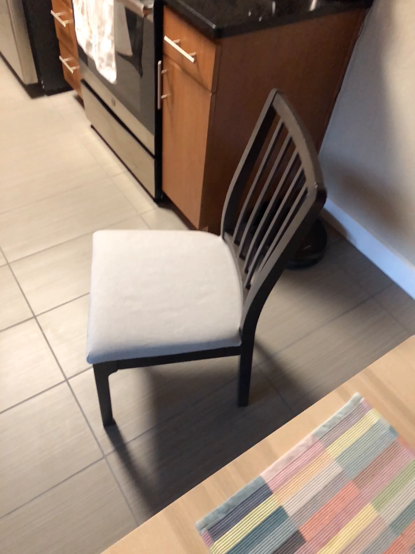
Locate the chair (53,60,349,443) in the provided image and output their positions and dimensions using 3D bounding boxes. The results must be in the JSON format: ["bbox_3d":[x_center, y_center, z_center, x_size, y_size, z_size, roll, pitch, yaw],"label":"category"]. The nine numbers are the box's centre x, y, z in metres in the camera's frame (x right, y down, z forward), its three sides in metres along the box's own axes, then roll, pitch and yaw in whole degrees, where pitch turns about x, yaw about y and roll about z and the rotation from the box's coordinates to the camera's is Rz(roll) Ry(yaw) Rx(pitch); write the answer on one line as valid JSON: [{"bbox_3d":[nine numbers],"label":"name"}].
[{"bbox_3d":[-0.066,0.044,1.365,0.510,1.125,0.482,1,50,-6],"label":"chair"}]
